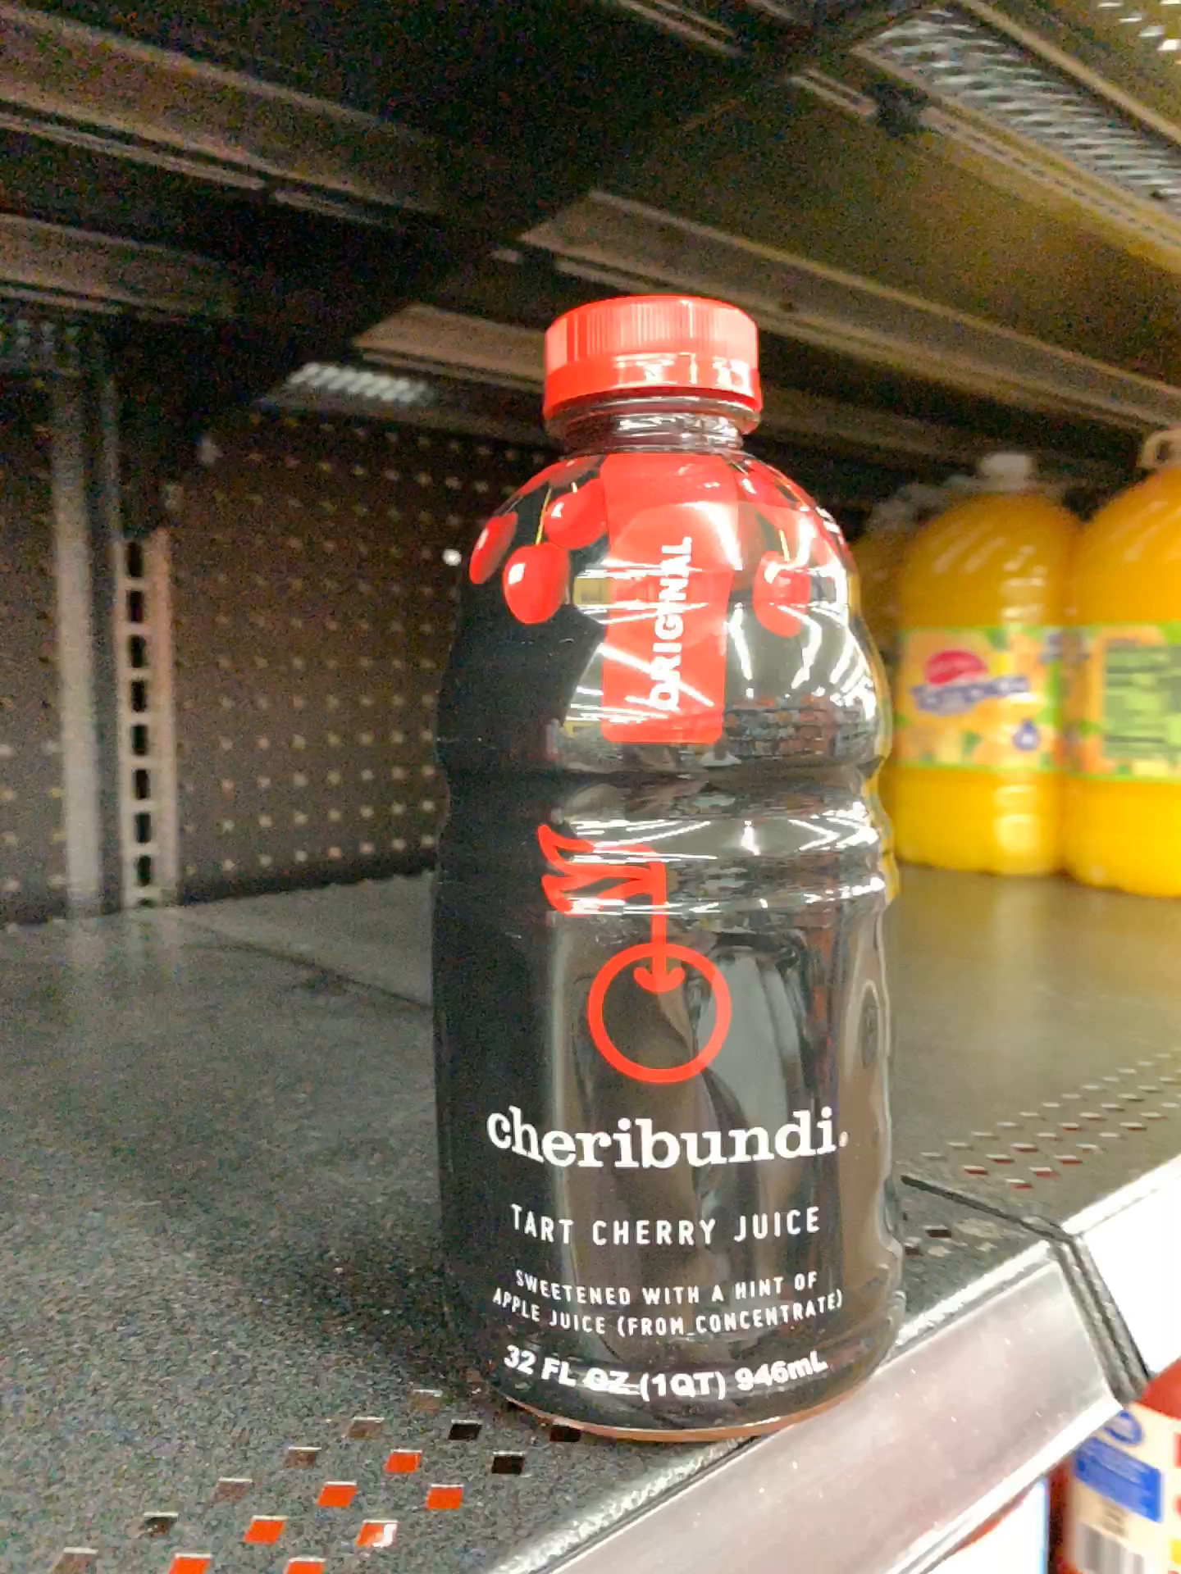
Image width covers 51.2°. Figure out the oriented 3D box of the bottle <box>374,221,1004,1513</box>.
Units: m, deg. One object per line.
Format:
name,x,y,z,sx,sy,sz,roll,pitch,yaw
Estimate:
bottle,0.017,0.013,0.241,0.095,0.205,0.090,0,5,0
